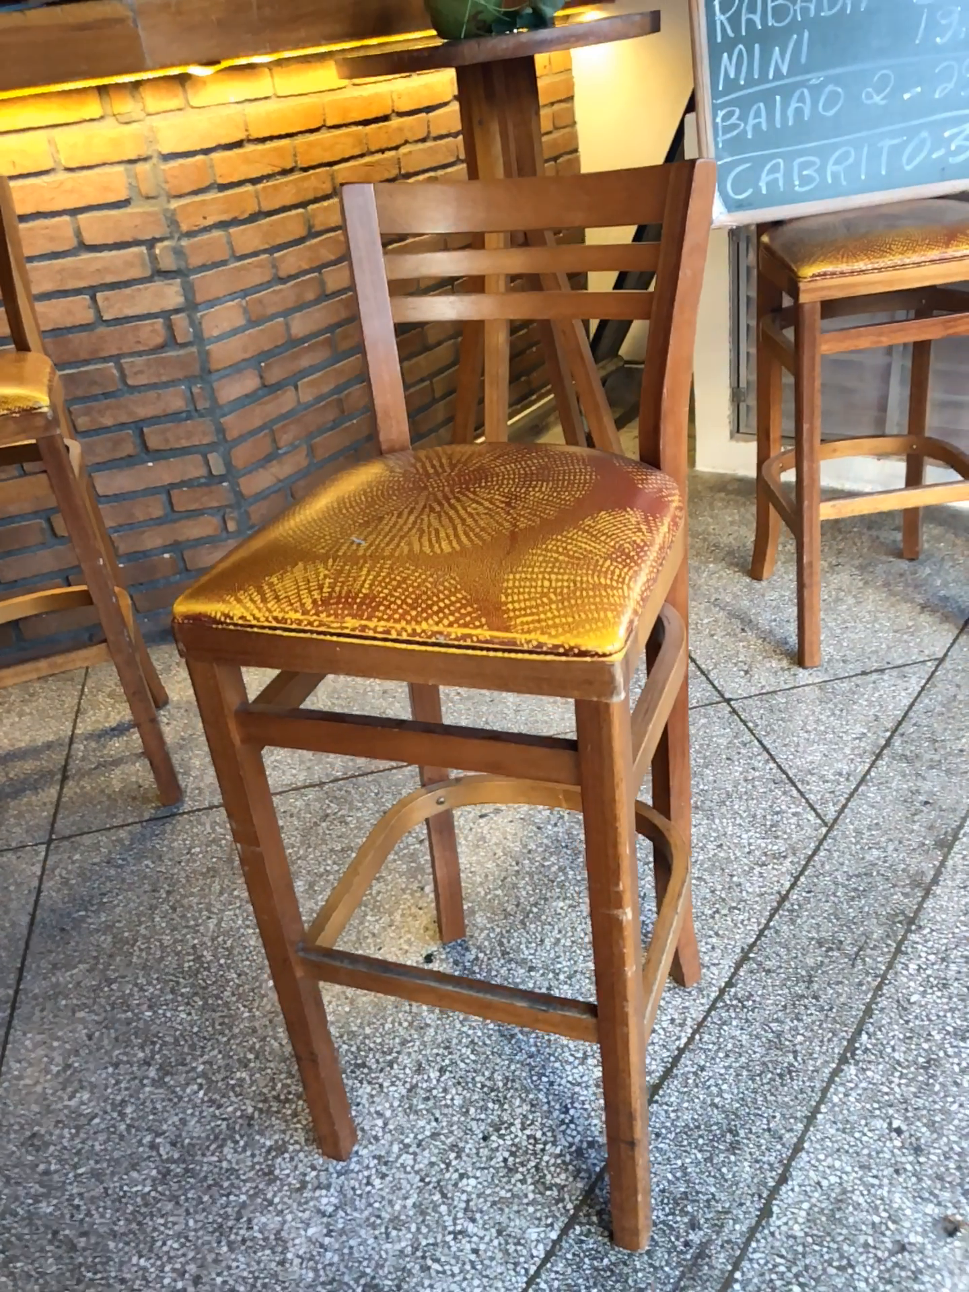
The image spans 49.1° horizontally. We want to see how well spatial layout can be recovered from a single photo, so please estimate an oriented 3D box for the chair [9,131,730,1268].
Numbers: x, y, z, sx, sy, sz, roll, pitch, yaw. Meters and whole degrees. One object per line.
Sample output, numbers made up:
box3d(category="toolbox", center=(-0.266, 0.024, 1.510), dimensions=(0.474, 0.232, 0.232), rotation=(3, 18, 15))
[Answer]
box3d(category="chair", center=(-0.002, 0.068, 1.057), dimensions=(0.400, 0.973, 0.433), rotation=(5, 32, 23))
